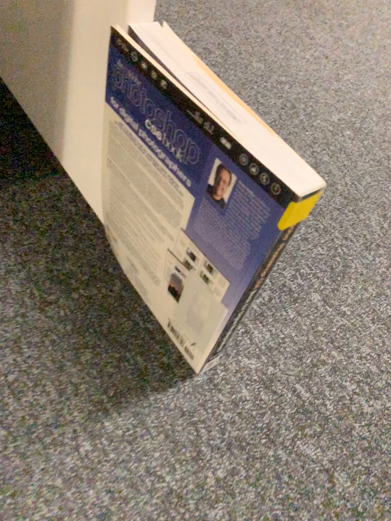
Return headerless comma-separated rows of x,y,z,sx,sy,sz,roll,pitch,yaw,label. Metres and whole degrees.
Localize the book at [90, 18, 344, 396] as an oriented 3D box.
-0.023,-0.027,0.370,0.052,0.275,0.212,-23,61,-30,book
